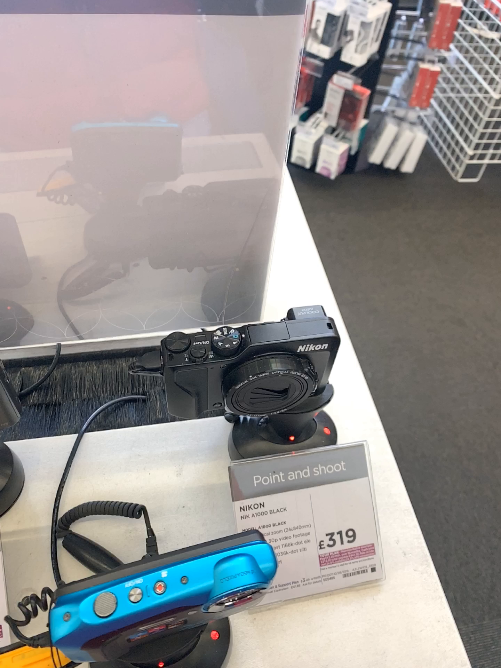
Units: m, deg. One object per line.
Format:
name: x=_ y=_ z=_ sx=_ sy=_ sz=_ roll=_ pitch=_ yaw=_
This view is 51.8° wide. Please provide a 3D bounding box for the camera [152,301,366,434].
camera: x=0.002 y=0.022 z=0.328 sx=0.120 sy=0.079 sz=0.030 roll=-6 pitch=52 yaw=-11
